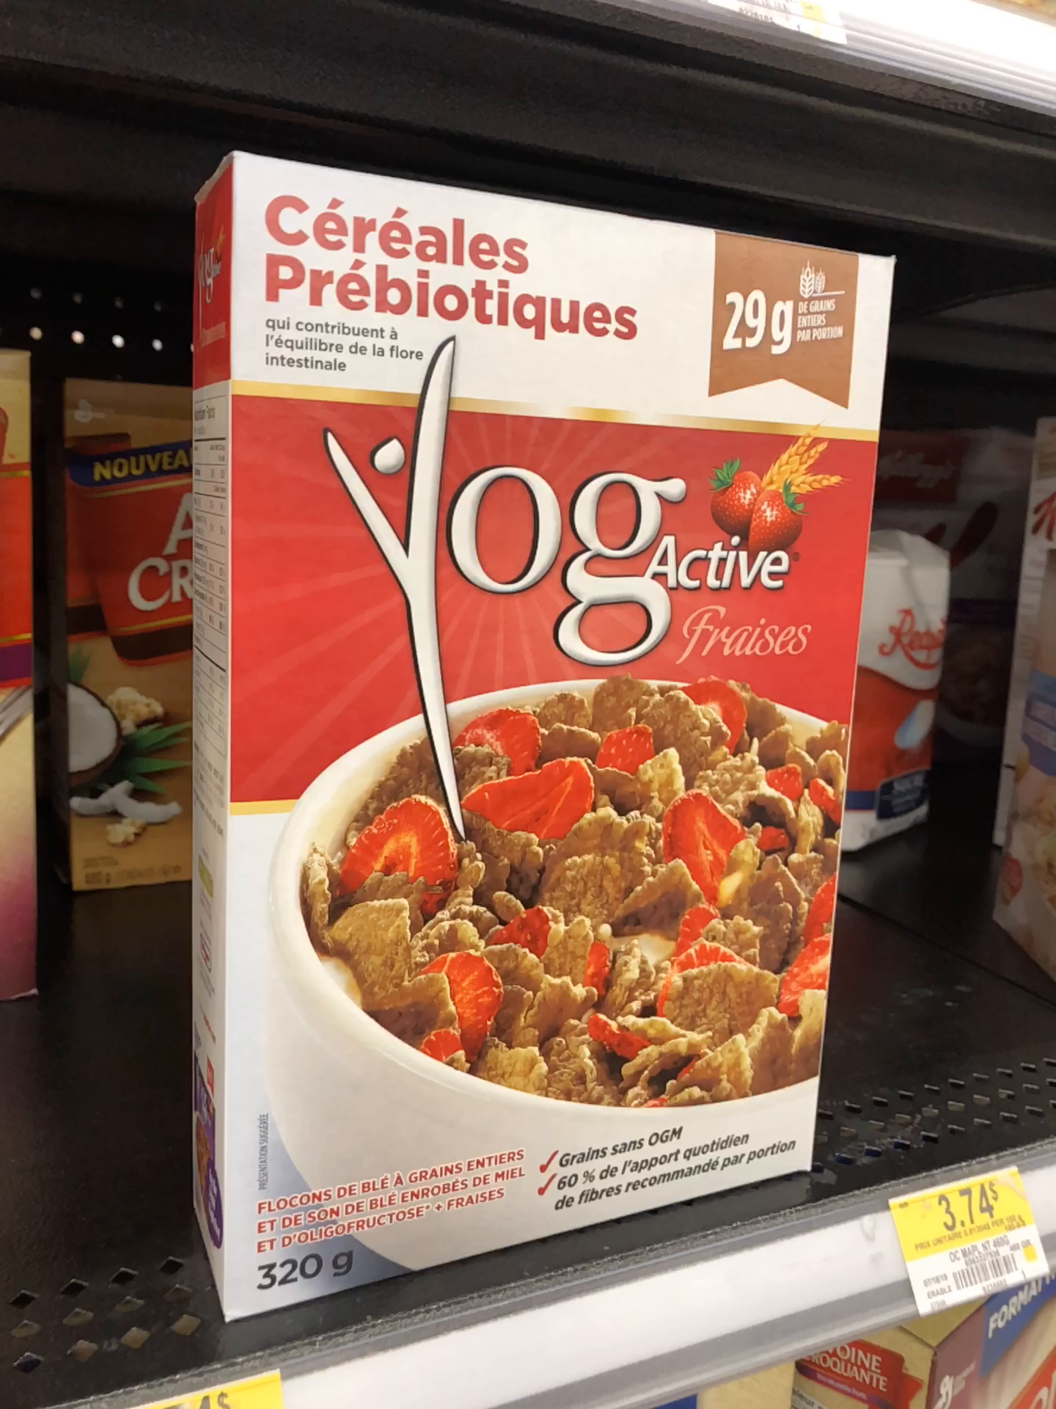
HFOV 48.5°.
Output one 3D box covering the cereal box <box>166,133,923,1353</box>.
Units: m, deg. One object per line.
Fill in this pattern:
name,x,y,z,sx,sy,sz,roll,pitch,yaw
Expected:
cereal box,0.004,0.014,0.337,0.200,0.289,0.050,-2,11,-26
